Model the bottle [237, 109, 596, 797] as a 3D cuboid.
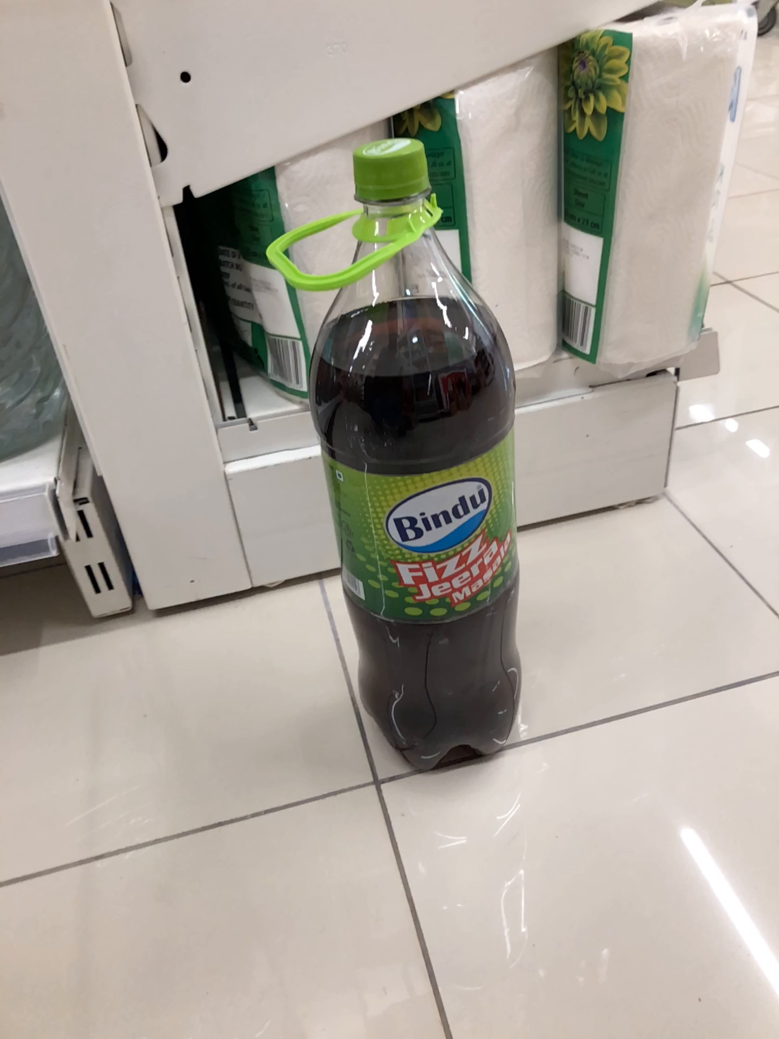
[{"bbox_3d":[0.019,-0.018,0.411,0.110,0.298,0.101,-5,35,3],"label":"bottle"}]
